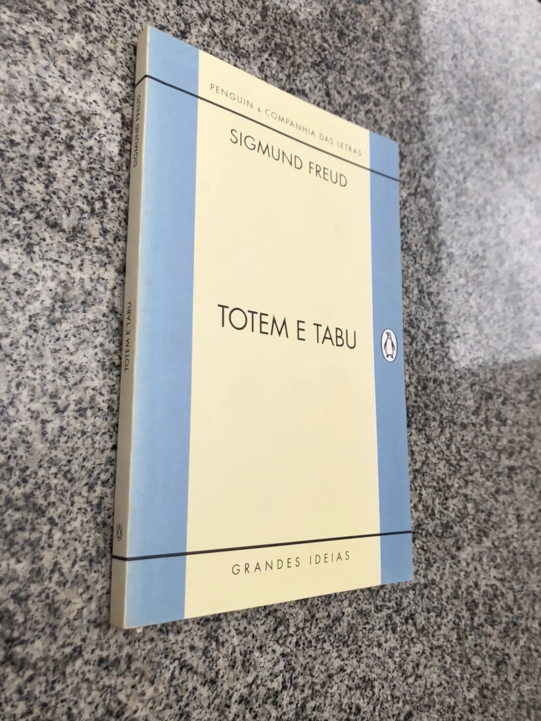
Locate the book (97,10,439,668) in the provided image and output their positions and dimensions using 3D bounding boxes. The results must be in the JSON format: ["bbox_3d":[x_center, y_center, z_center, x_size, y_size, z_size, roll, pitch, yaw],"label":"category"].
[{"bbox_3d":[0.009,-0.007,0.217,0.131,0.015,0.191,9,76,-37],"label":"book"}]
